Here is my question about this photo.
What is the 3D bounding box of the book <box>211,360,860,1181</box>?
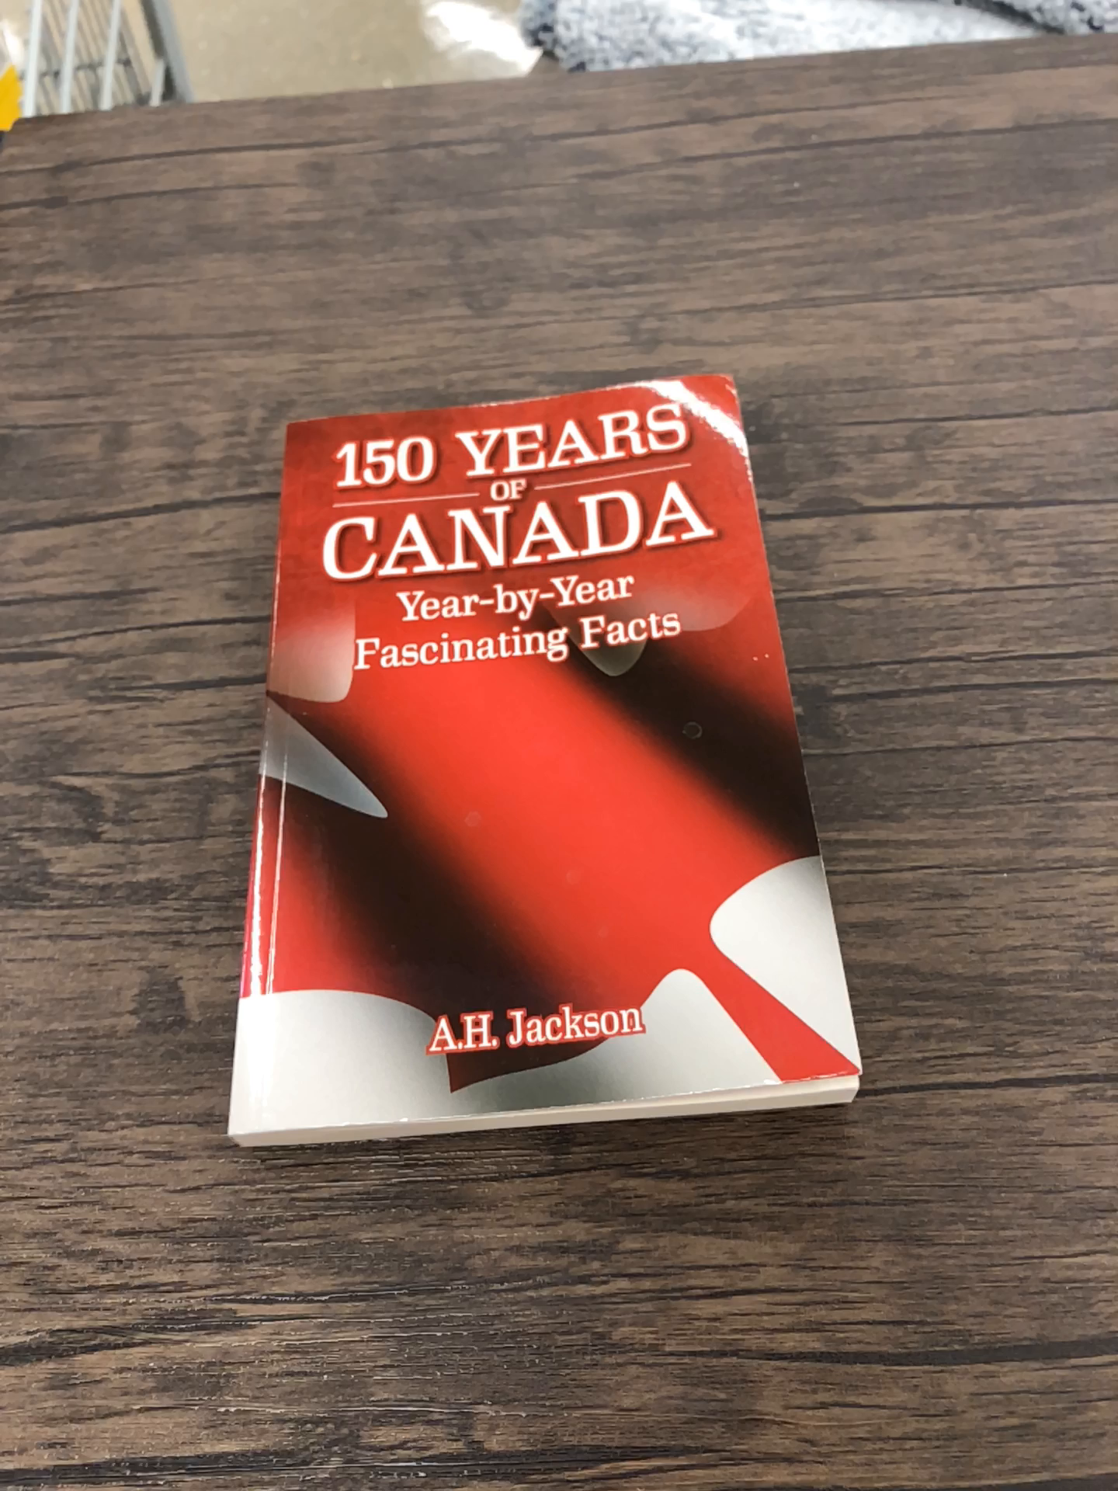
[{"bbox_3d":[-0.010,-0.006,0.312,0.130,0.025,0.206,-8,57,6],"label":"book"}]
